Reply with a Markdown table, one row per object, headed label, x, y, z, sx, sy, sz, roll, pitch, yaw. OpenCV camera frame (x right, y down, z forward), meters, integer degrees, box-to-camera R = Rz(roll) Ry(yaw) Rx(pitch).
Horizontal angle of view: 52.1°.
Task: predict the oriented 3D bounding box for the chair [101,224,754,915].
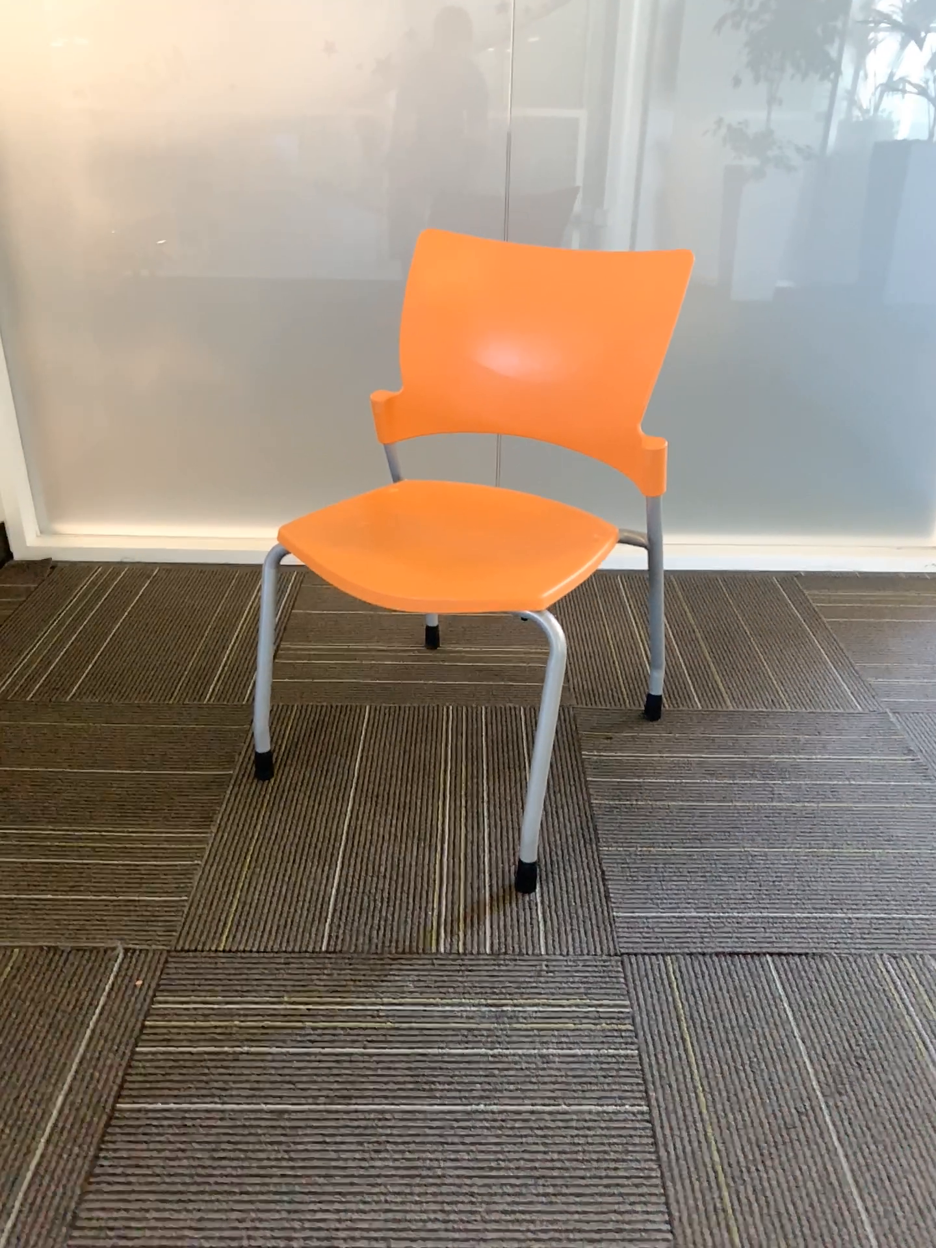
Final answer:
| label | x | y | z | sx | sy | sz | roll | pitch | yaw |
| --- | --- | --- | --- | --- | --- | --- | --- | --- | --- |
| chair | -0.024 | -0.171 | 1.549 | 0.681 | 0.795 | 0.683 | 15 | 30 | 25 |
